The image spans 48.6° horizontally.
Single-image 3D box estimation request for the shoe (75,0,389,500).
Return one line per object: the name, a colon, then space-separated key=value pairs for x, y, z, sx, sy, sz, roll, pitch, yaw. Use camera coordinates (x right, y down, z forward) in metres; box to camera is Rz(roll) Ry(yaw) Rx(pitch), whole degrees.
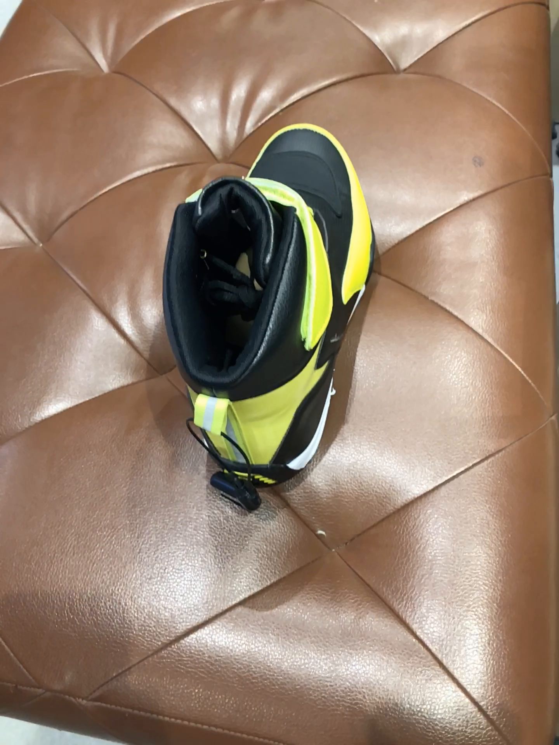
shoe: x=-0.002 y=-0.083 z=0.389 sx=0.116 sy=0.172 sz=0.275 roll=4 pitch=64 yaw=9
